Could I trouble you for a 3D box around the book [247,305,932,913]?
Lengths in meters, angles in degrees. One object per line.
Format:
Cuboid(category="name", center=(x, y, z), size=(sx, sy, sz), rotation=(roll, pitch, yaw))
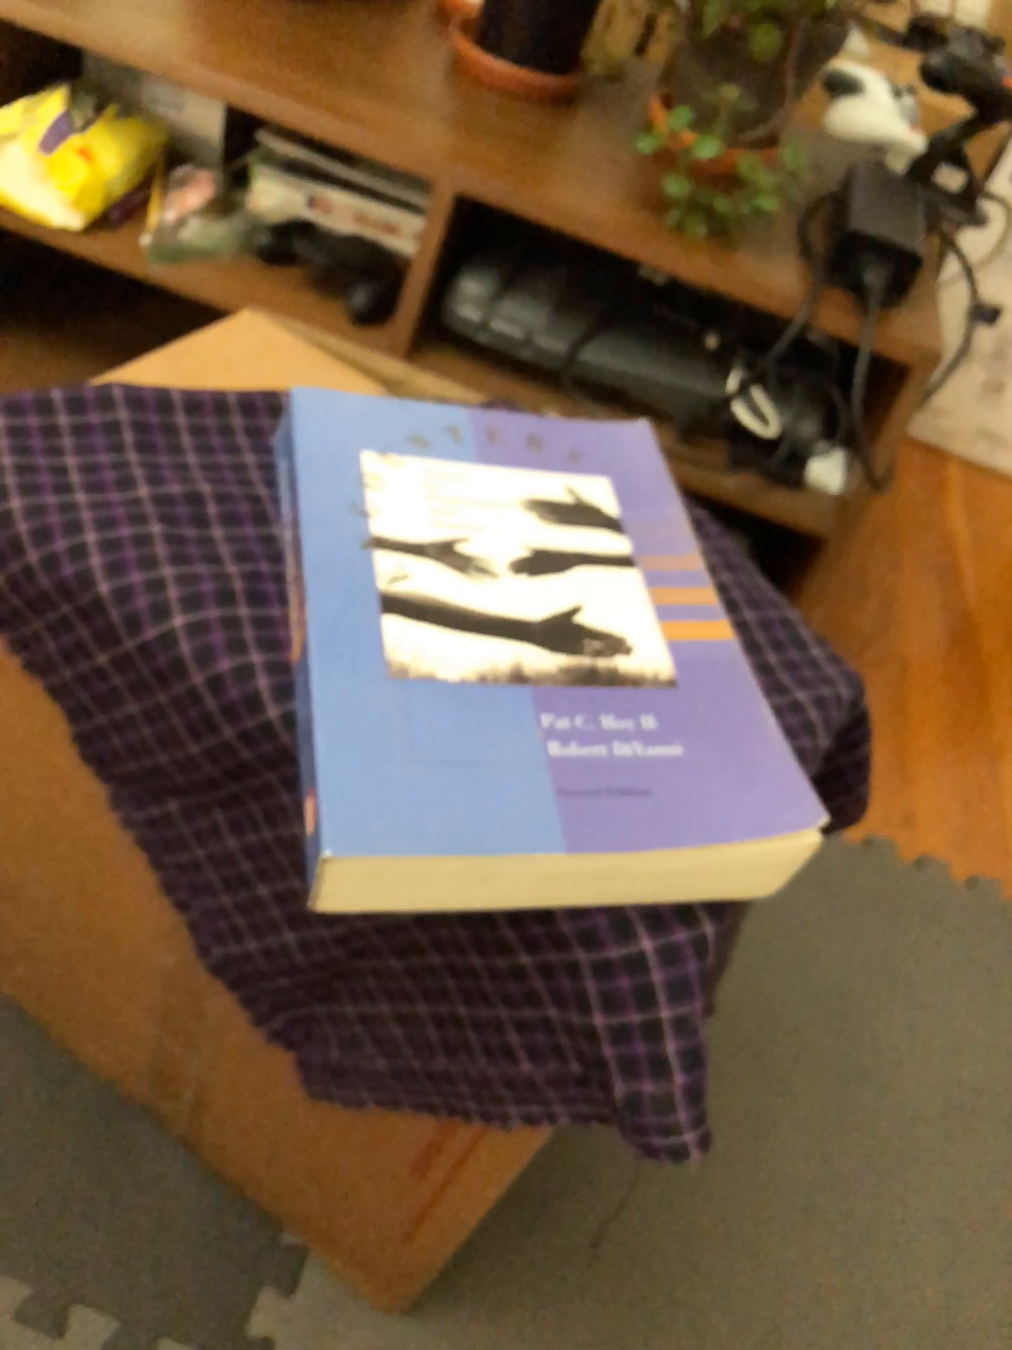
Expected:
Cuboid(category="book", center=(0.011, -0.037, 0.427), size=(0.200, 0.040, 0.261), rotation=(3, 46, -18))
